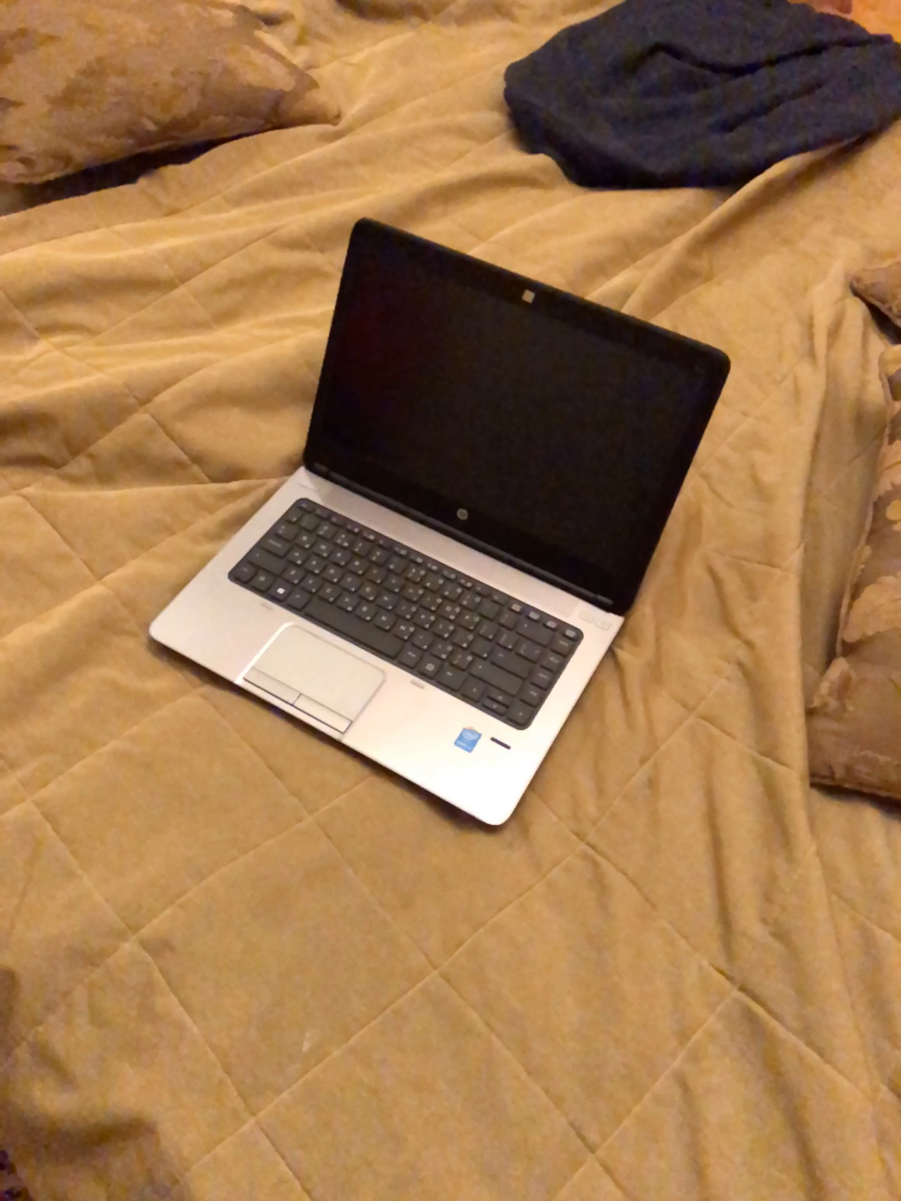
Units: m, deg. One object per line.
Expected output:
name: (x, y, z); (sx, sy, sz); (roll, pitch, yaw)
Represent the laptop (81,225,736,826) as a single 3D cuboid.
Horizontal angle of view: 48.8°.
laptop: (-0.019, -0.076, 0.778); (0.332, 0.189, 0.340); (26, 58, 17)
